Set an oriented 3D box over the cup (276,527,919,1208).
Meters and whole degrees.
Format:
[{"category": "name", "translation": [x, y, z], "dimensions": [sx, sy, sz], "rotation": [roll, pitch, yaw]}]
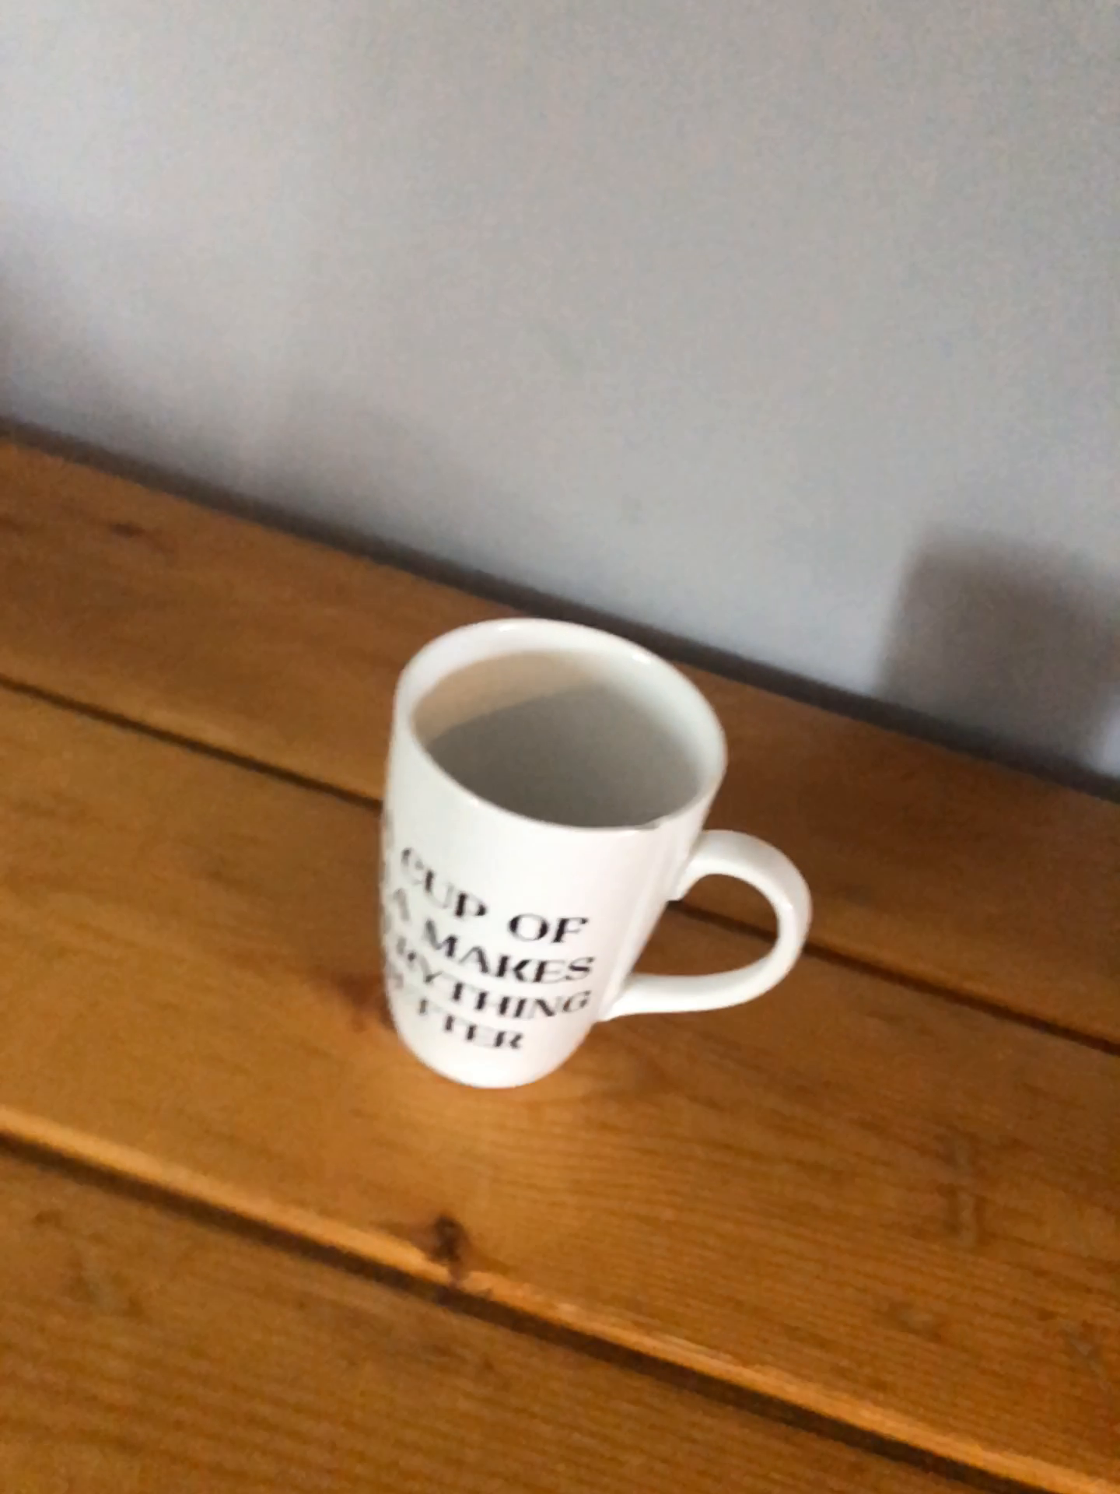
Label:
[{"category": "cup", "translation": [0.007, 0.033, 0.369], "dimensions": [0.140, 0.120, 0.100], "rotation": [24, 43, 10]}]
